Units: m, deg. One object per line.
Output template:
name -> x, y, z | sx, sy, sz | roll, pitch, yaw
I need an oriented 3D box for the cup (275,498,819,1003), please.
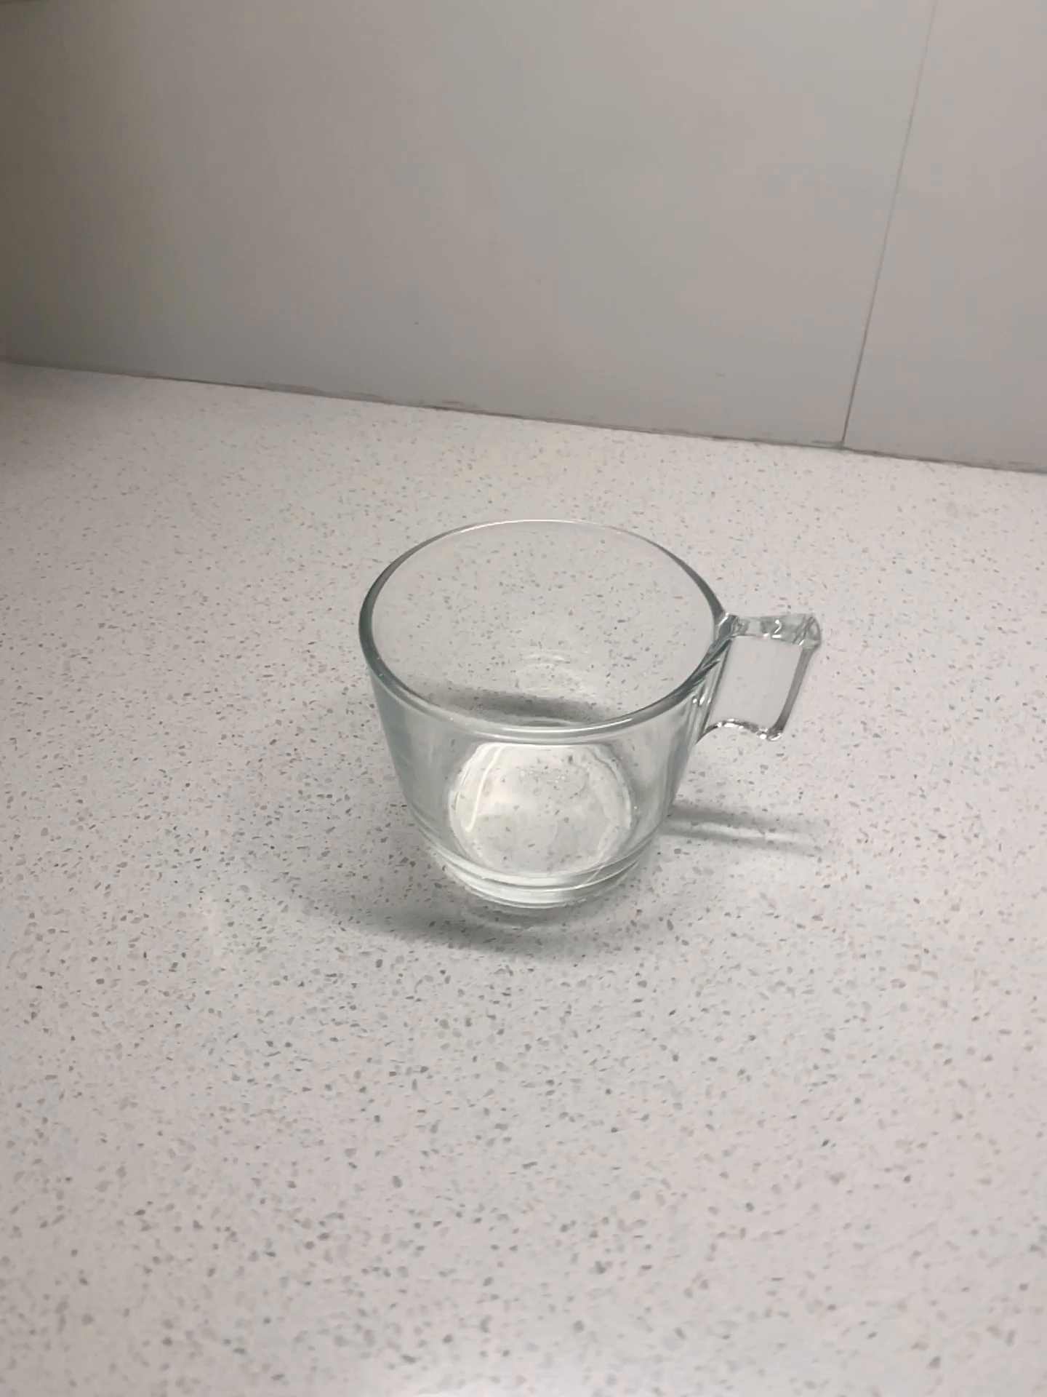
cup -> 0.009, 0.010, 0.277 | 0.110, 0.080, 0.090 | 5, 42, 5
